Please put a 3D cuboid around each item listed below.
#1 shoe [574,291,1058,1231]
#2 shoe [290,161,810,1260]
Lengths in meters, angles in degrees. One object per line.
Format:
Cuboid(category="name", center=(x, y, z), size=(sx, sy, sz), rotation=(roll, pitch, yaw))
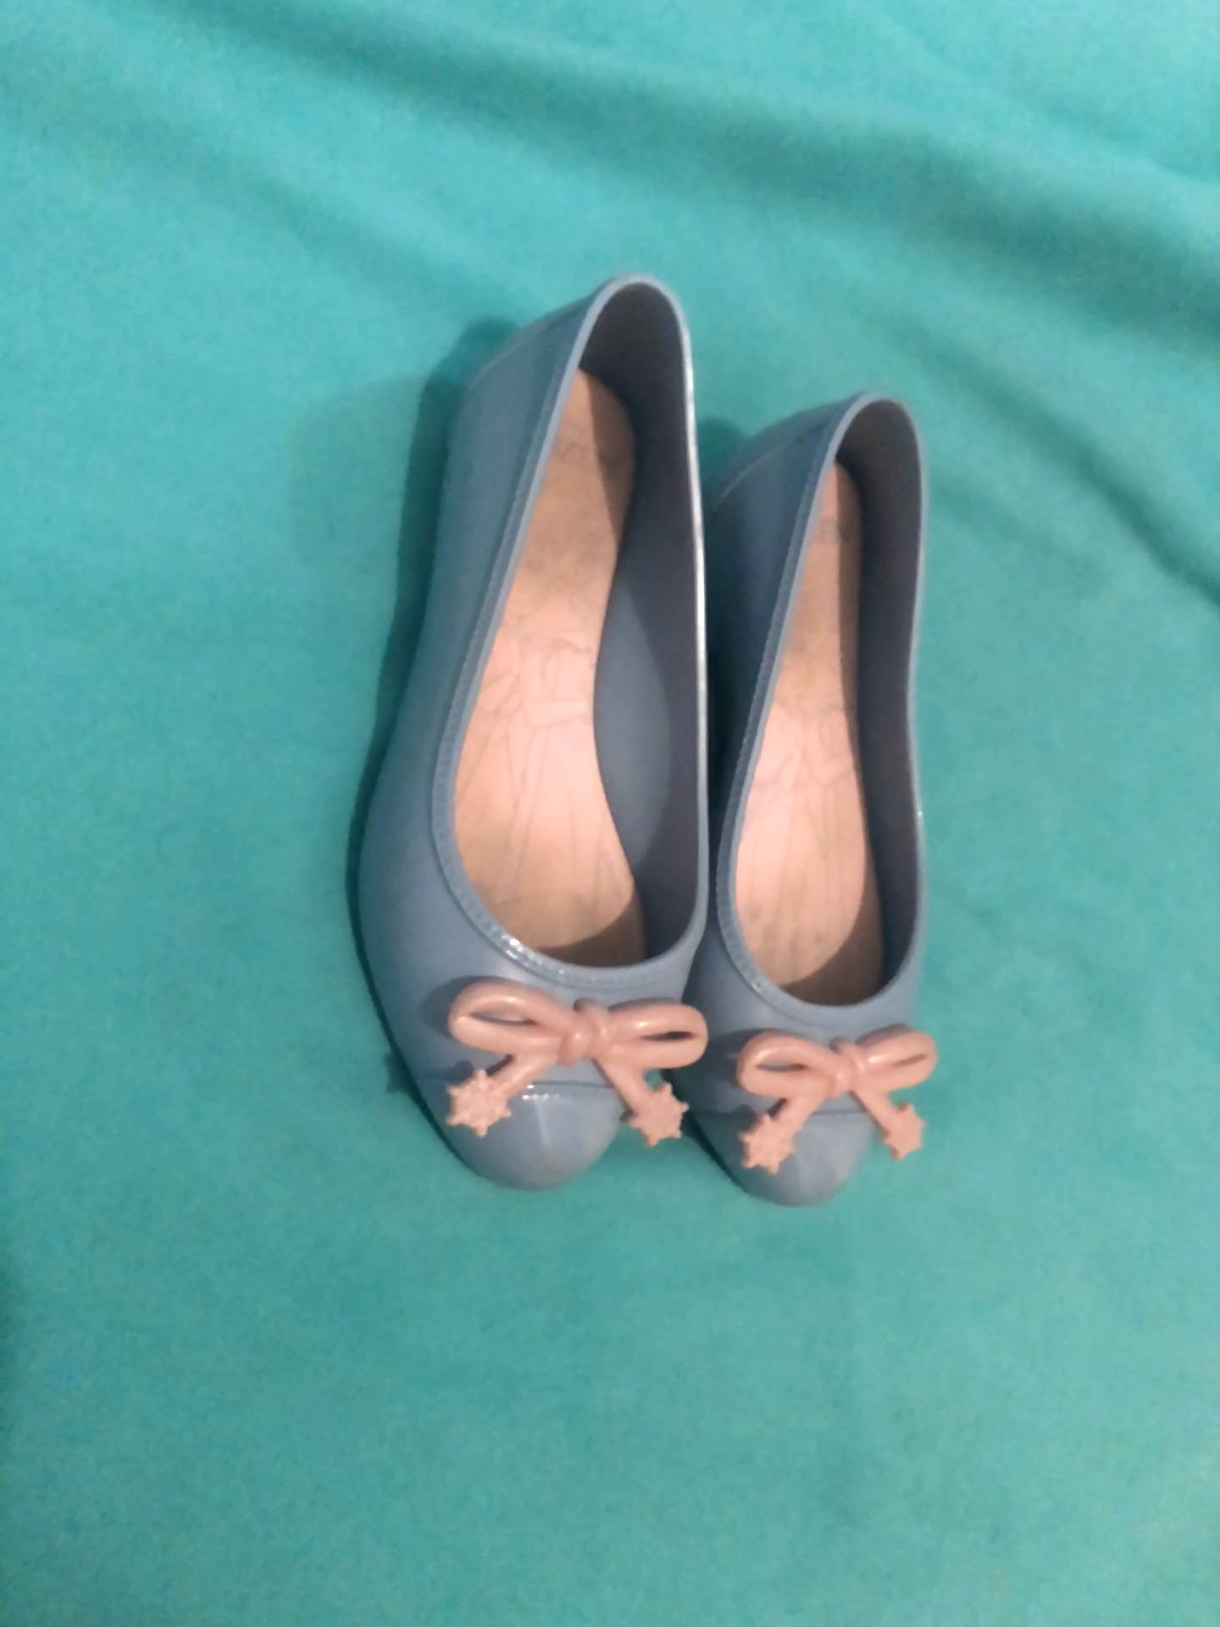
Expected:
Cuboid(category="shoe", center=(0.045, -0.009, 0.317), size=(0.080, 0.060, 0.190), rotation=(2, 81, -31))
Cuboid(category="shoe", center=(-0.016, -0.017, 0.277), size=(0.080, 0.060, 0.190), rotation=(2, 81, -31))
